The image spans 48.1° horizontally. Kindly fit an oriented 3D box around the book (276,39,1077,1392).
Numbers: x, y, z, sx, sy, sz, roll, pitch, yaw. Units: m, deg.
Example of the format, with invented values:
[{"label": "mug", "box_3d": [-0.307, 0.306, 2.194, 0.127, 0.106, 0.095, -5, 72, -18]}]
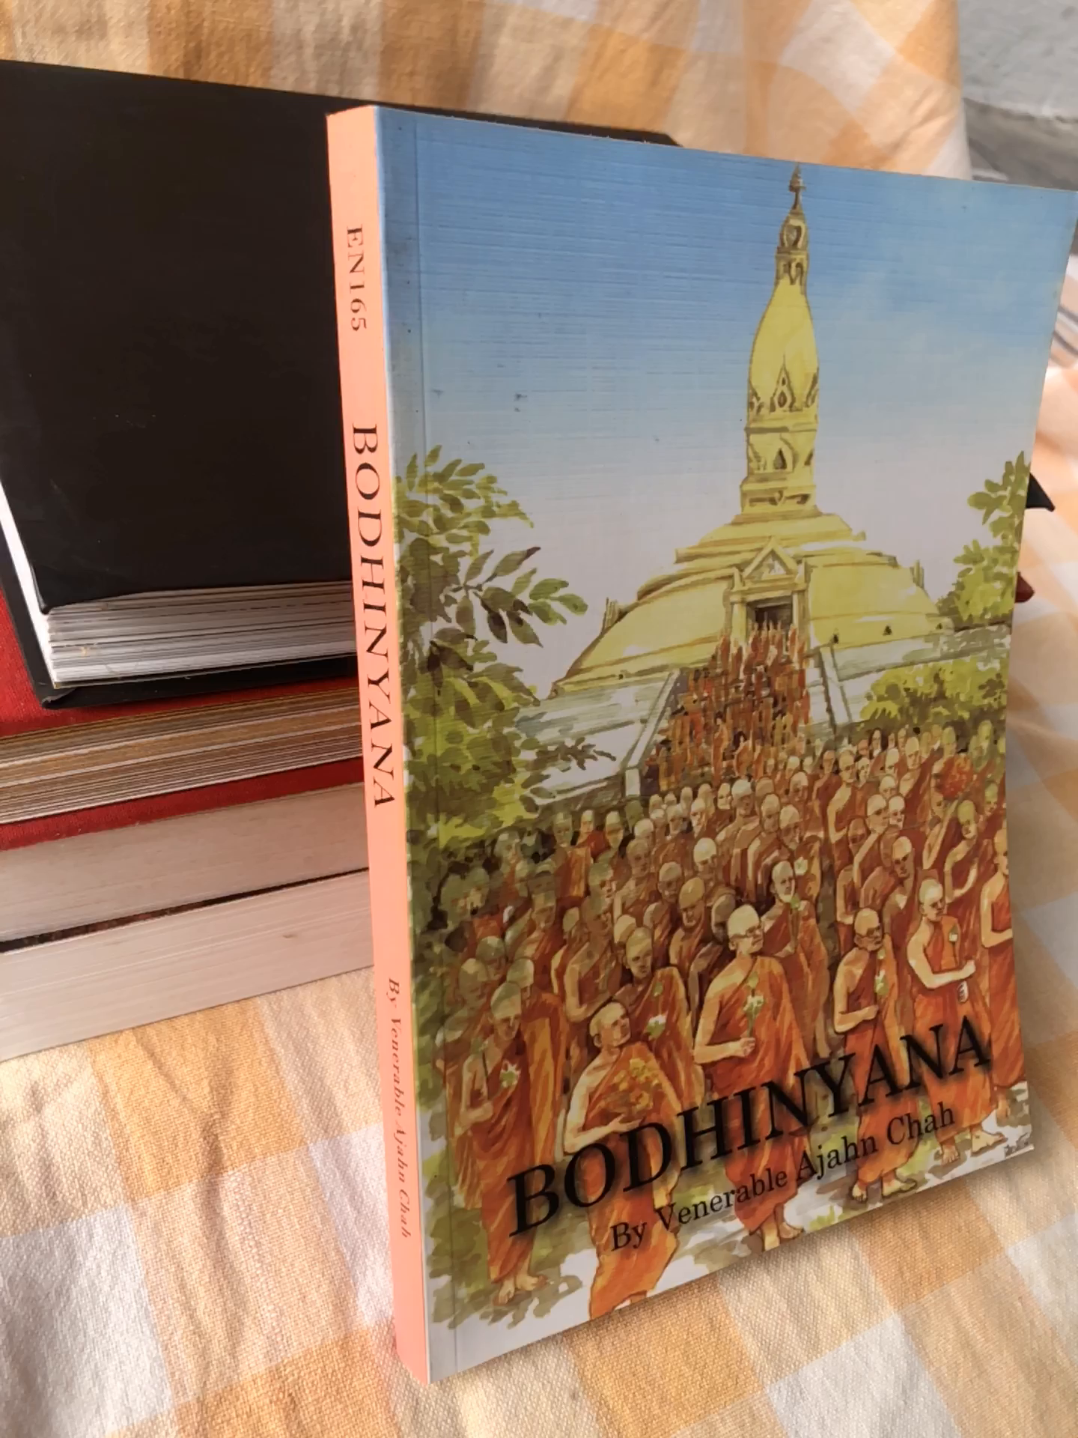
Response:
[{"label": "book", "box_3d": [0.035, 0.000, 0.222, 0.151, 0.200, 0.030, -7, 12, -27]}]
